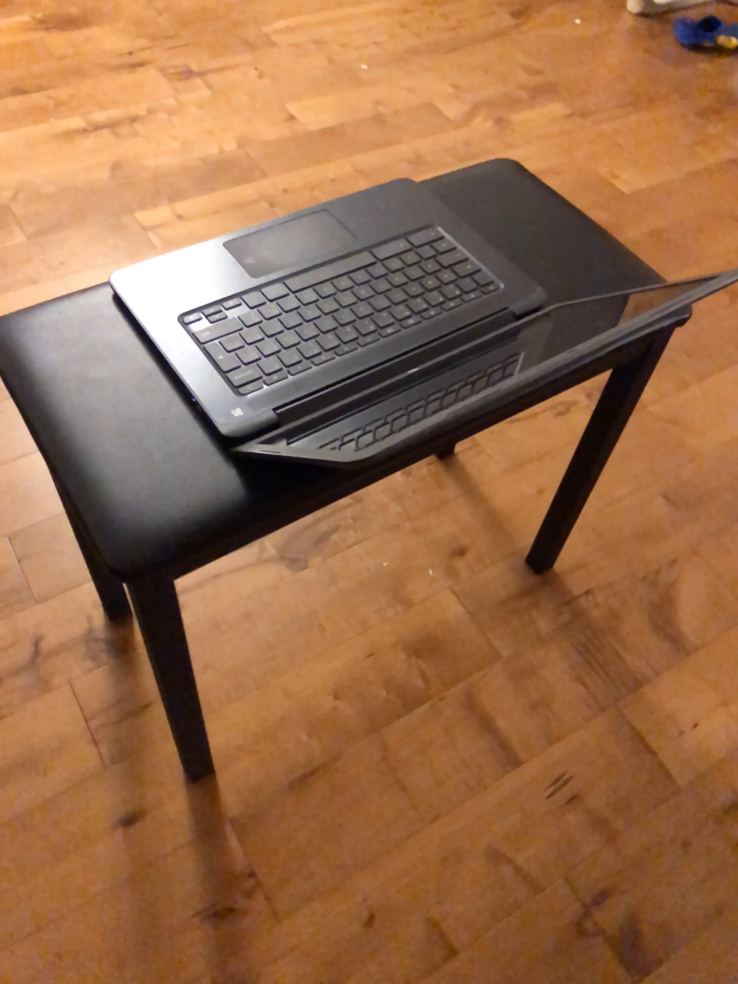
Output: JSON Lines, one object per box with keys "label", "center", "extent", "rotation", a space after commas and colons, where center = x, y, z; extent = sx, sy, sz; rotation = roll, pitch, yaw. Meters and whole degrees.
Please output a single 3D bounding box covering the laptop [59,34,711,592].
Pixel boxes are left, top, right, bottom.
{"label": "laptop", "center": [0.000, -0.169, 0.630], "extent": [0.317, 0.143, 0.364], "rotation": [-27, 62, -24]}
